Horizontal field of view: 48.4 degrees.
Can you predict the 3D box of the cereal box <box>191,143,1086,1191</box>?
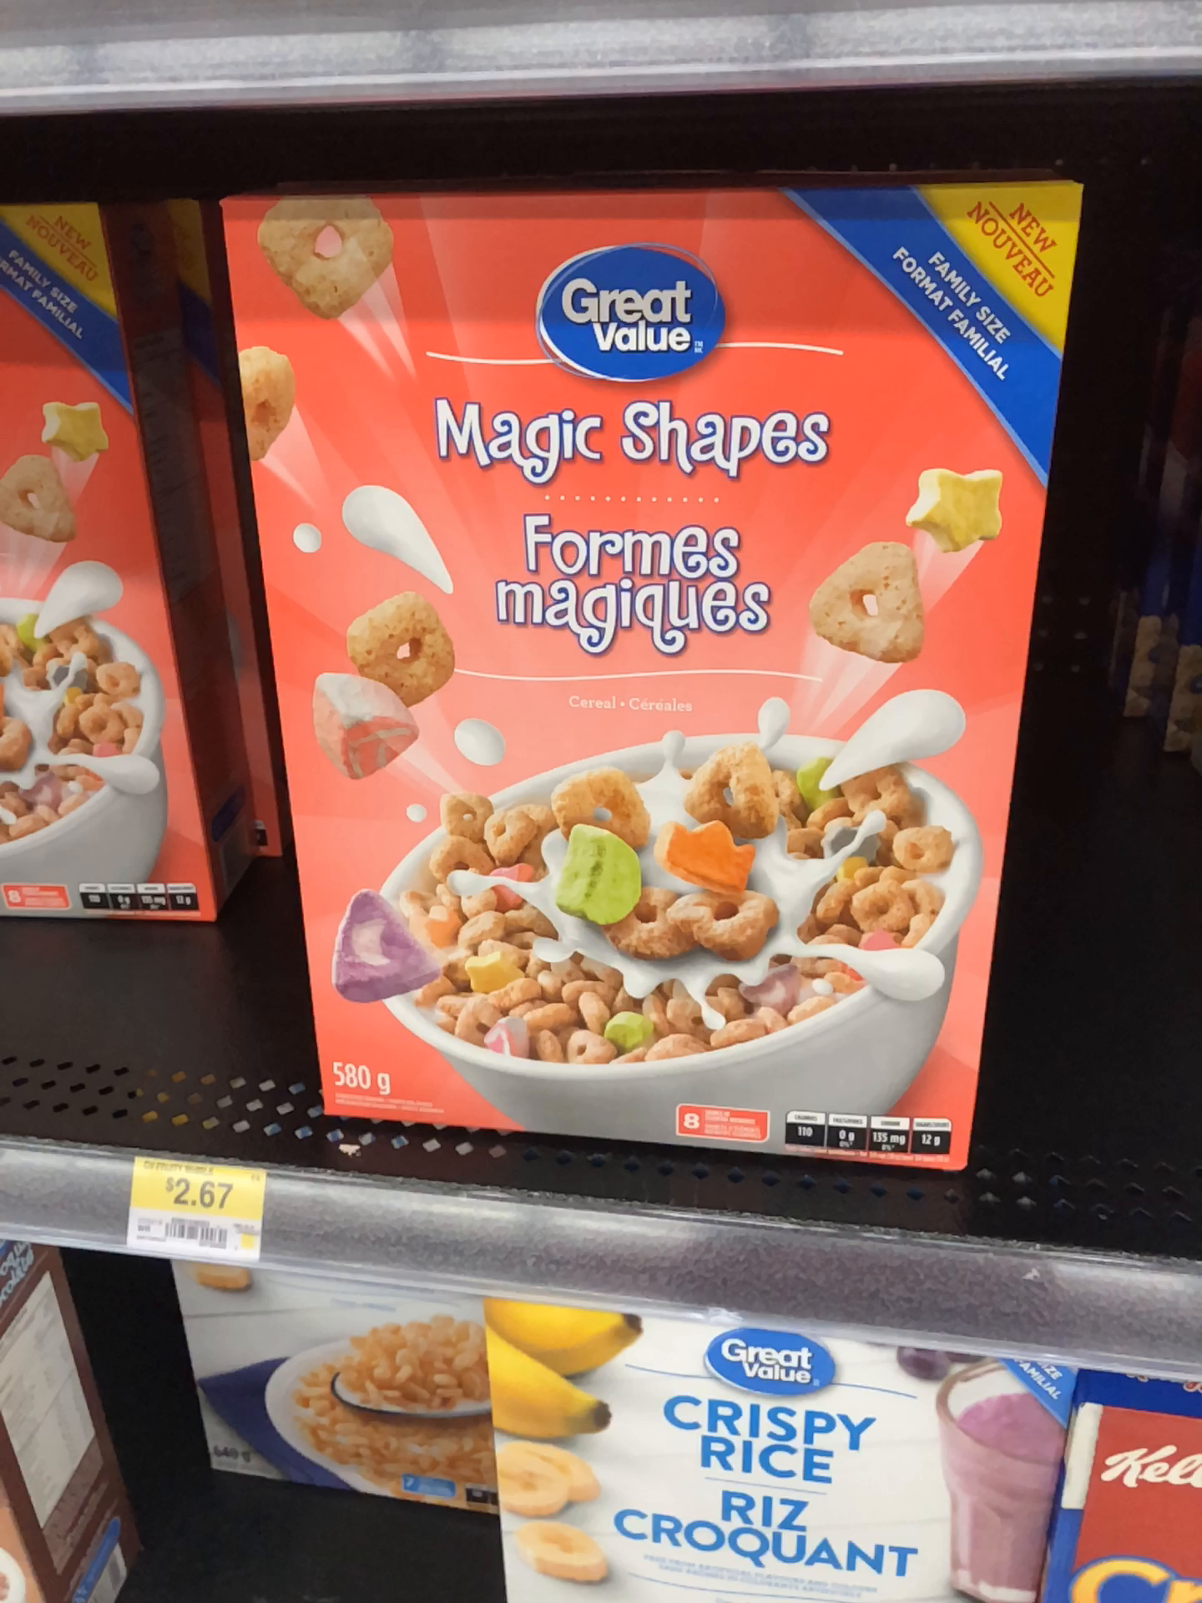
[{"bbox_3d":[0.012,-0.039,0.471,0.250,0.339,0.080,3,23,9],"label":"cereal box"}]
